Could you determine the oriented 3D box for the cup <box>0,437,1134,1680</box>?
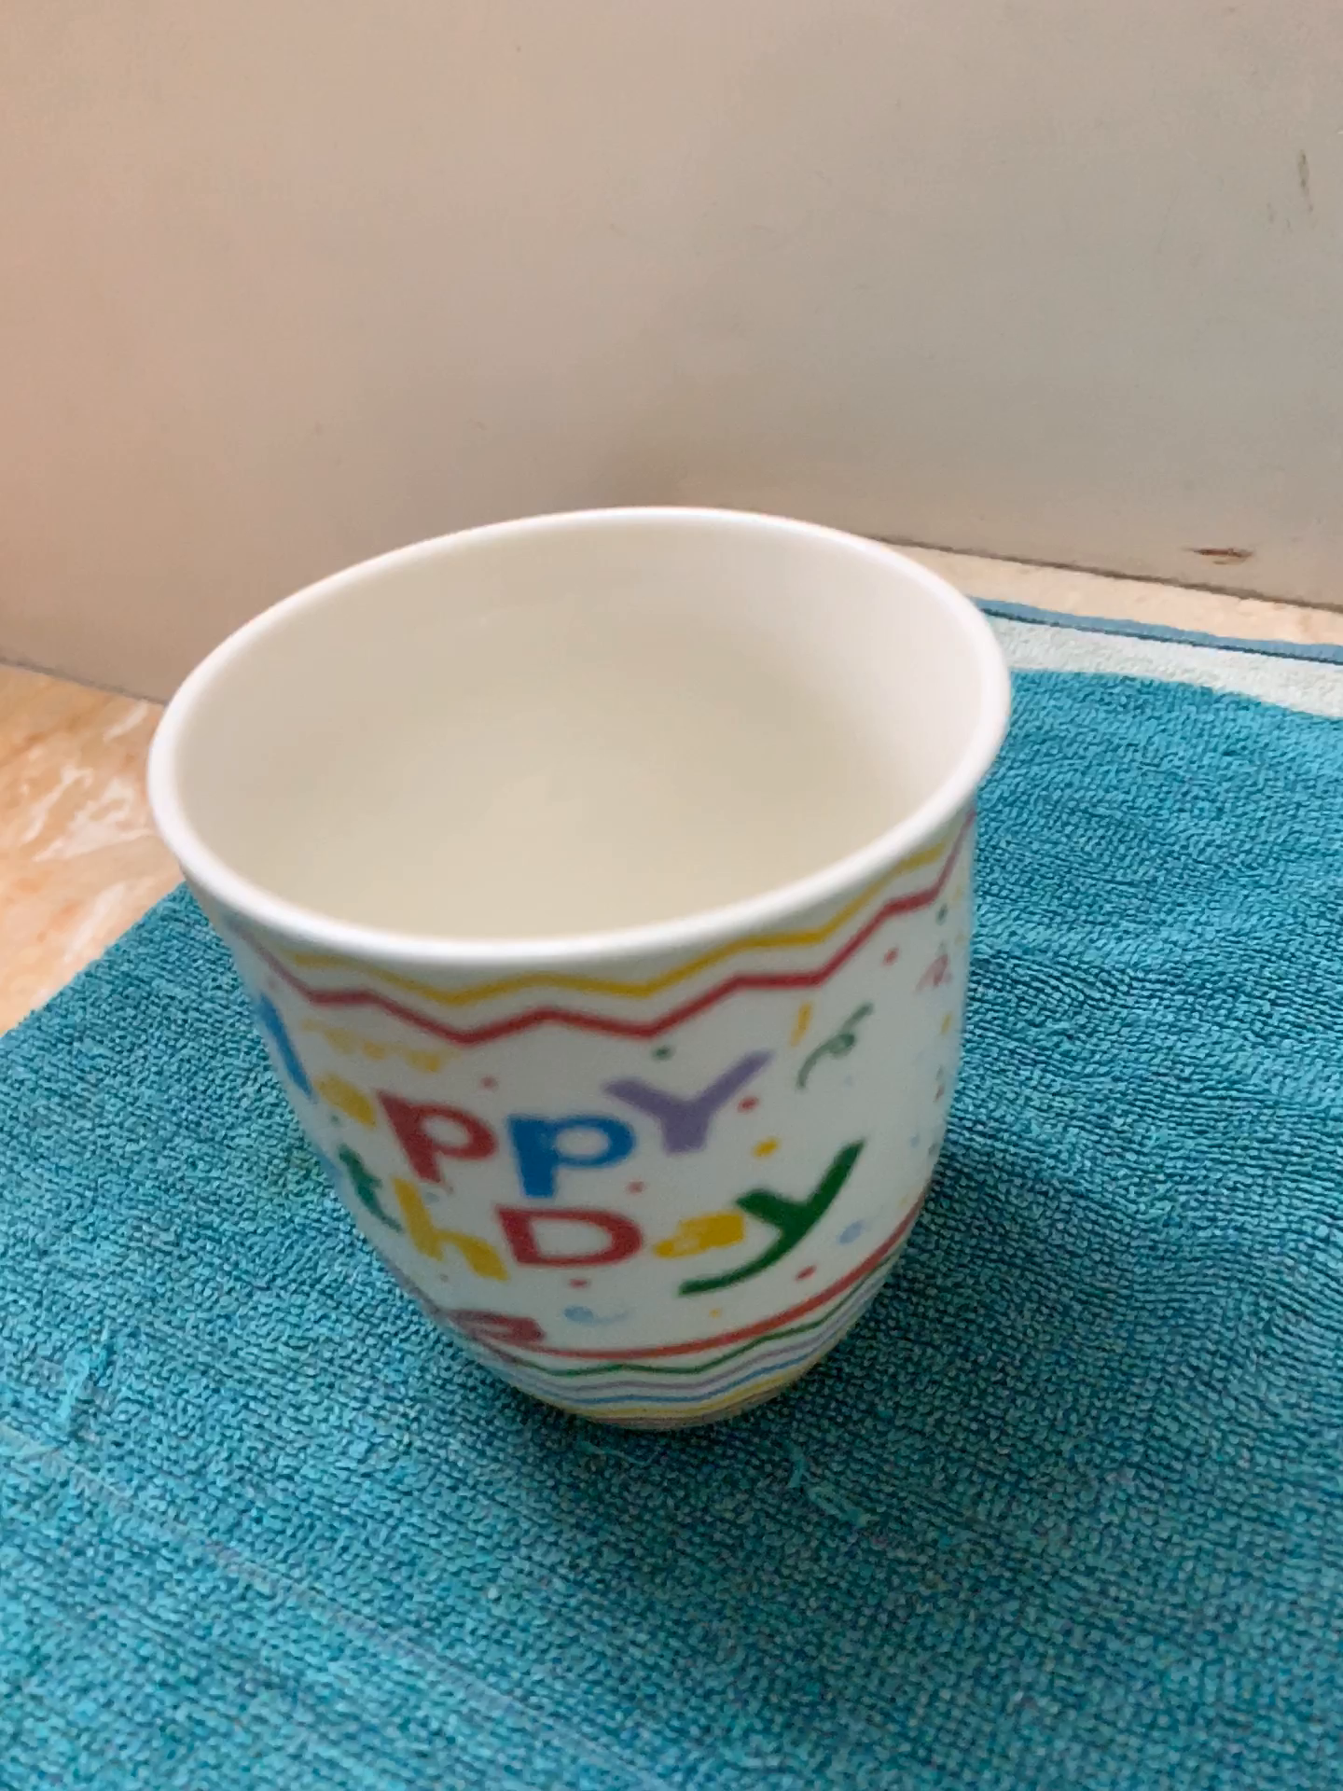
[{"bbox_3d":[-0.021,0.009,0.193,0.130,0.099,0.090,18,44,28],"label":"cup"}]
